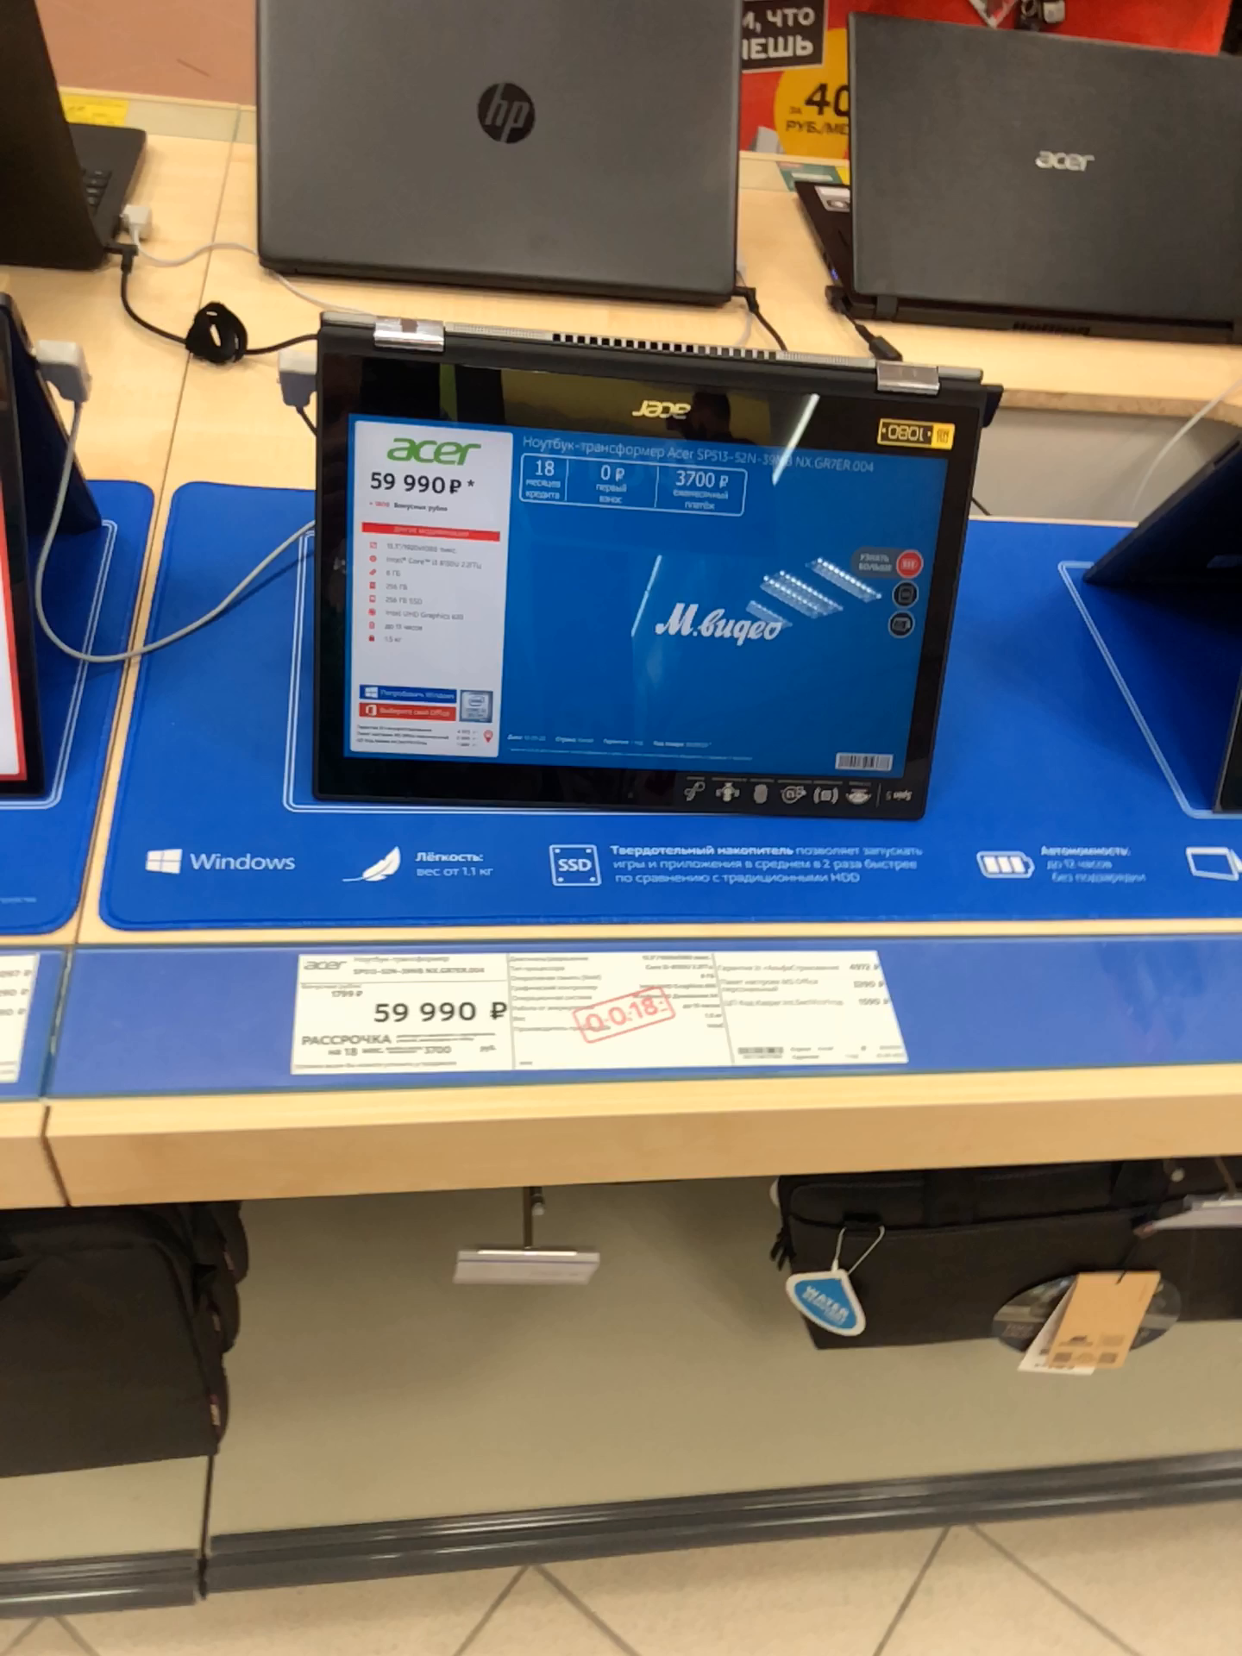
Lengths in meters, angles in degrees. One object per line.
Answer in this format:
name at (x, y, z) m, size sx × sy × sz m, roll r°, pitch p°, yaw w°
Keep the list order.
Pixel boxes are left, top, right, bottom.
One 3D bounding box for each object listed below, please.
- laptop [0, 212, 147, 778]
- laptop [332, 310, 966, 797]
laptop at (-0.426, -0.131, 0.713) m, size 0.269 × 0.179 × 0.175 m, roll 1°, pitch 16°, yaw -13°
laptop at (-0.011, -0.127, 0.824) m, size 0.307 × 0.159 × 0.201 m, roll 0°, pitch 10°, yaw -17°
